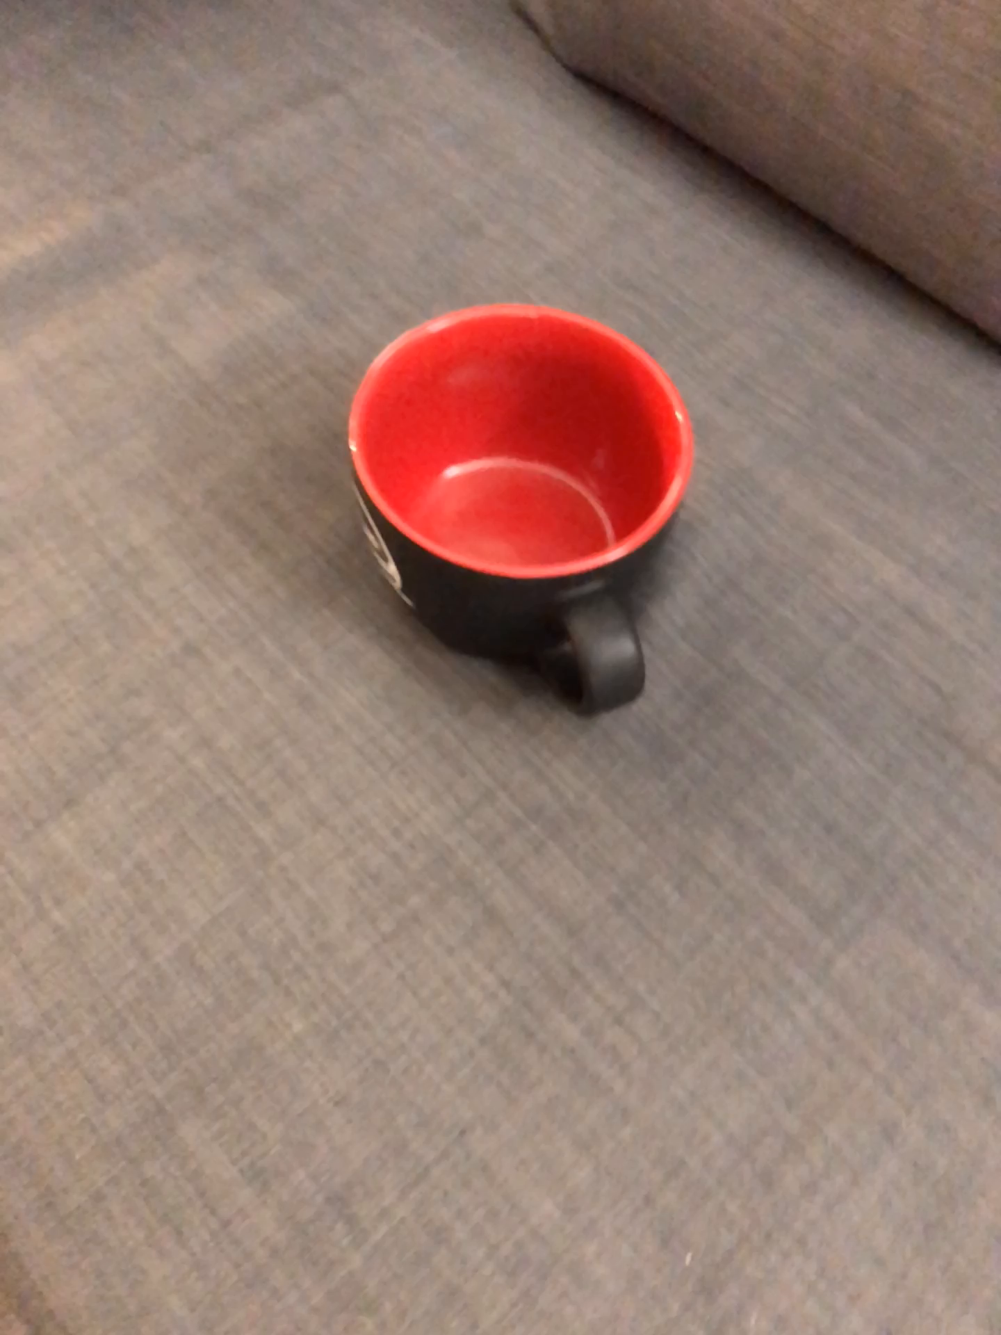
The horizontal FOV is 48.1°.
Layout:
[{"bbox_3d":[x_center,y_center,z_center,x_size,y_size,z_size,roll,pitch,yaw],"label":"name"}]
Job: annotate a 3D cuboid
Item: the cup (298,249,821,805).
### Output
[{"bbox_3d":[0.013,-0.055,0.408,0.120,0.080,0.160,-18,62,-13],"label":"cup"}]
